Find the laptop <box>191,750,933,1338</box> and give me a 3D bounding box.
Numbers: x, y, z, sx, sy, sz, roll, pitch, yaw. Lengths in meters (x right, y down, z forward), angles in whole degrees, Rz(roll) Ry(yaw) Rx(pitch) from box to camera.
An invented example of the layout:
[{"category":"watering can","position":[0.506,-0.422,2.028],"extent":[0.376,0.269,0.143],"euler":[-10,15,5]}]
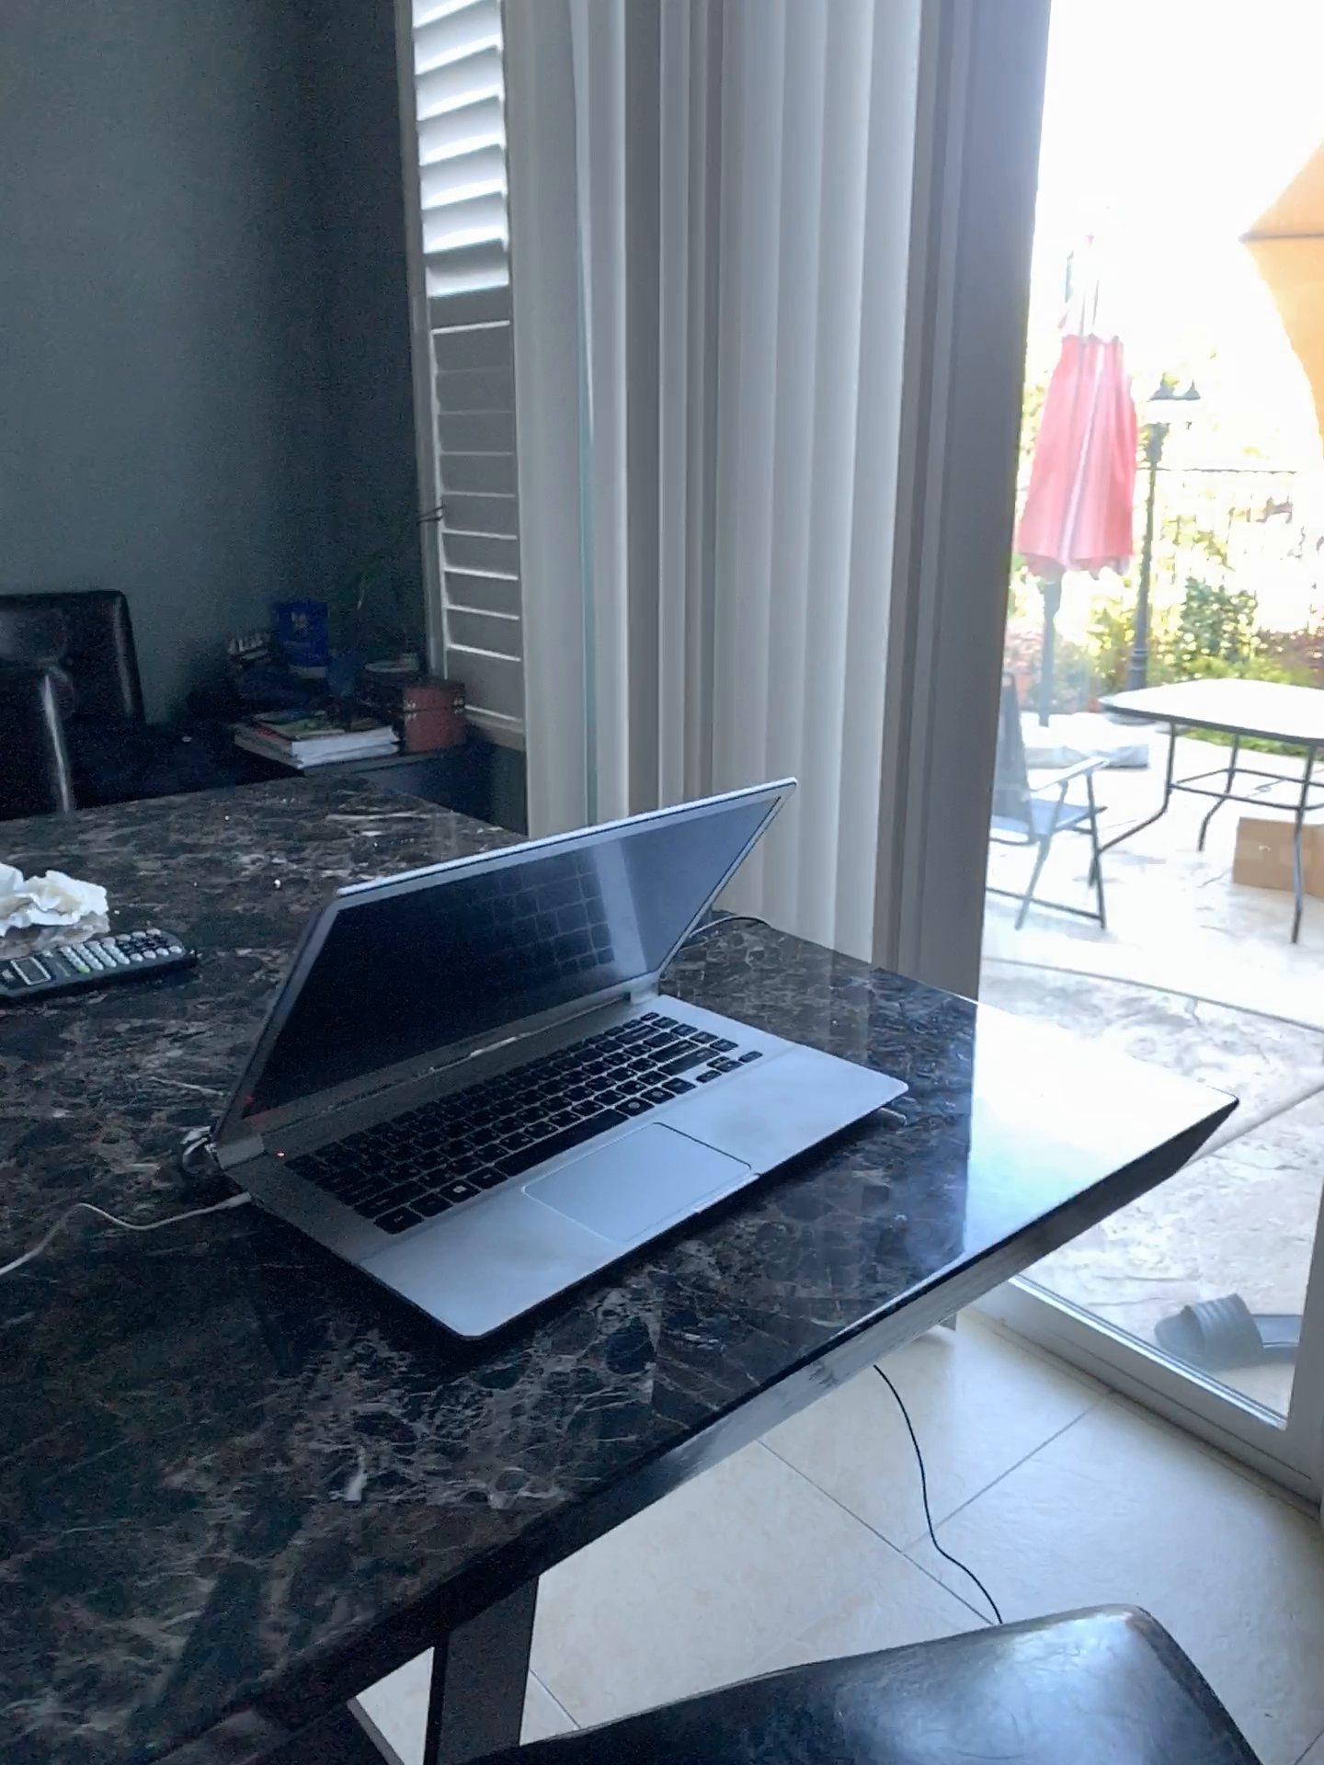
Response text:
[{"category":"laptop","position":[-0.045,0.058,0.806],"extent":[0.234,0.188,0.362],"euler":[16,23,41]}]
